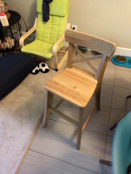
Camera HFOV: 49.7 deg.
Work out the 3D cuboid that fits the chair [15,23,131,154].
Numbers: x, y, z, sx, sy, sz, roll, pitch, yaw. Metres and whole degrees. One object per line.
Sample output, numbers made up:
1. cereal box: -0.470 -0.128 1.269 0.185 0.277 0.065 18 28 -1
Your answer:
1. chair: 0.064 0.034 1.013 0.440 0.685 0.493 27 54 19
